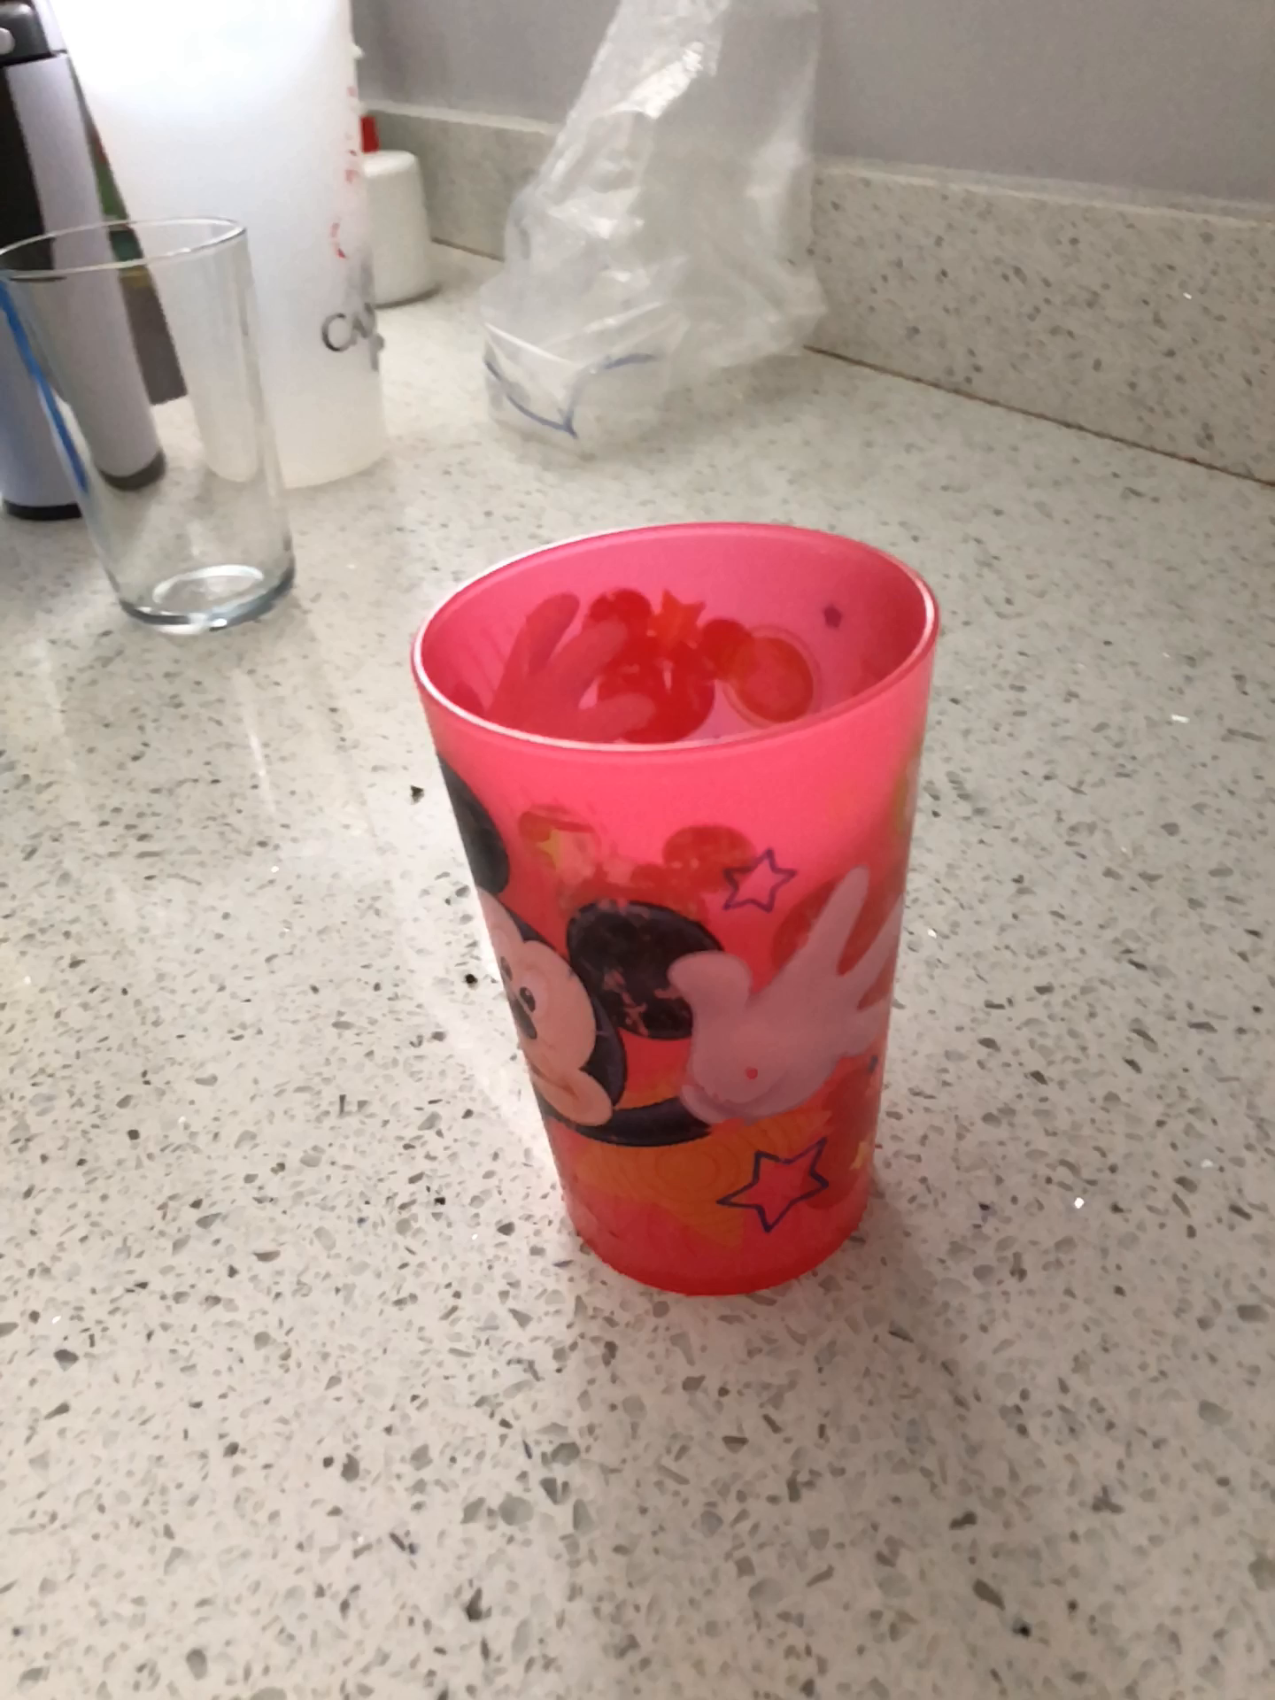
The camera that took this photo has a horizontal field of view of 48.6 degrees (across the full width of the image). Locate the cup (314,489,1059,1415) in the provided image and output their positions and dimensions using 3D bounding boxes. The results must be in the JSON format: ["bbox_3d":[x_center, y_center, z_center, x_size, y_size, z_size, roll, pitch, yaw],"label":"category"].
[{"bbox_3d":[0.007,0.011,0.212,0.071,0.096,0.074,-5,33,3],"label":"cup"}]
